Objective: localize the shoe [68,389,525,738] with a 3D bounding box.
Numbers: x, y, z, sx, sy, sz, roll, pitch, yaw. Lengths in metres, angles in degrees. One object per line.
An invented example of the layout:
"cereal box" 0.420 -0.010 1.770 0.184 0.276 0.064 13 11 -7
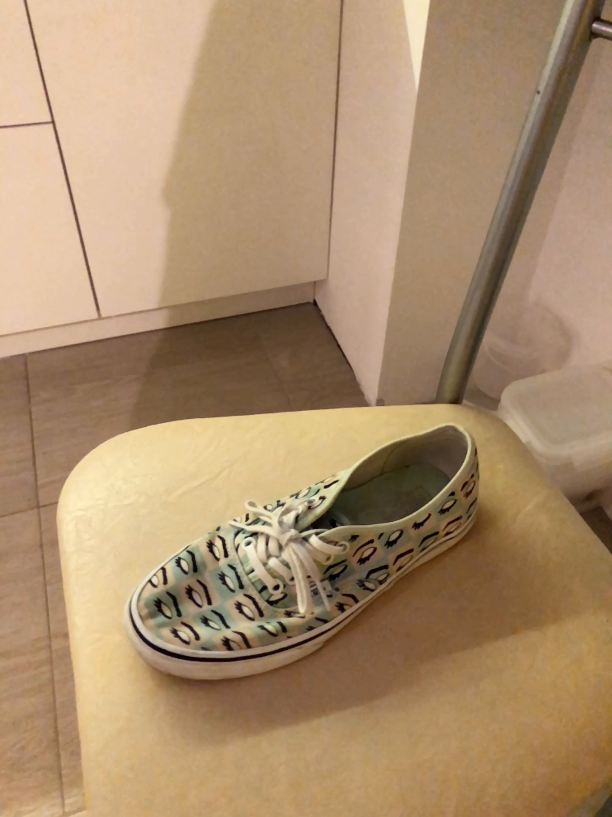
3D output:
"shoe" -0.003 0.086 0.436 0.261 0.068 0.111 -20 49 -20
